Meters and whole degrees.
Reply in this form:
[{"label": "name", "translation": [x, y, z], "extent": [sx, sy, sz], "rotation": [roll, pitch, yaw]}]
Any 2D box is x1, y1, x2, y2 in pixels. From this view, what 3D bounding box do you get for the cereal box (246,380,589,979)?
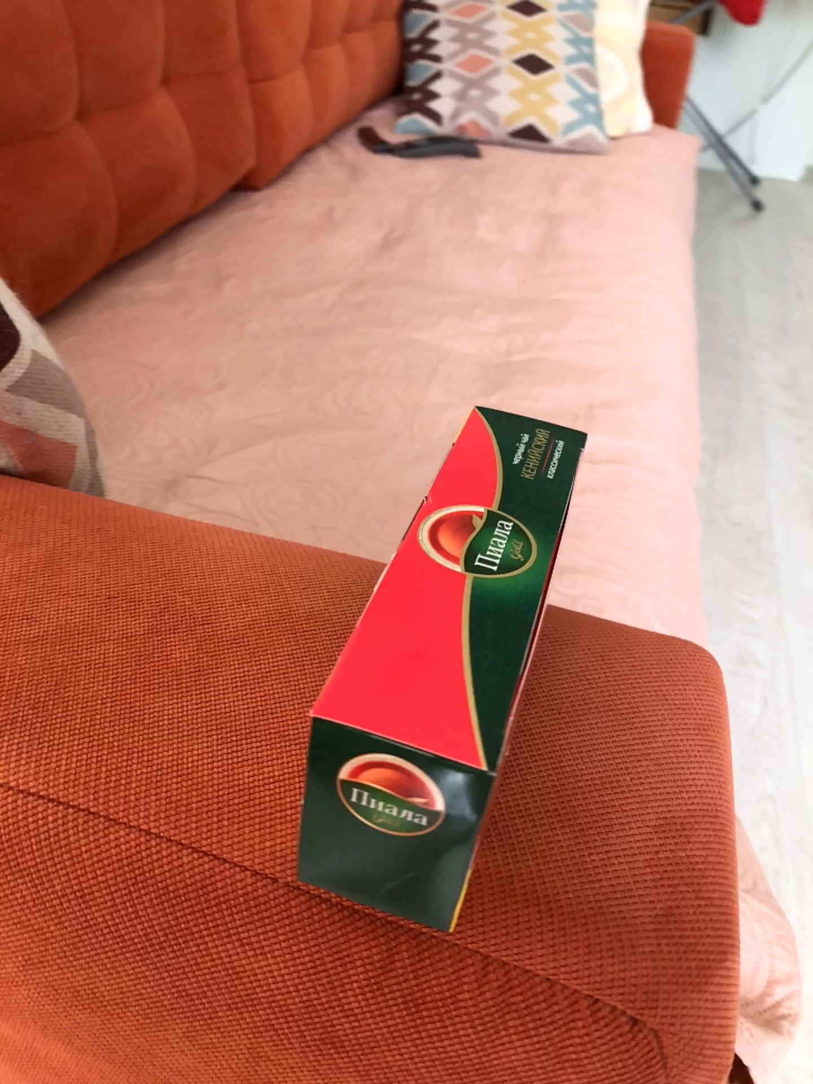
[{"label": "cereal box", "translation": [0.012, 0.023, 0.266], "extent": [0.050, 0.069, 0.171], "rotation": [13, 36, 10]}]
